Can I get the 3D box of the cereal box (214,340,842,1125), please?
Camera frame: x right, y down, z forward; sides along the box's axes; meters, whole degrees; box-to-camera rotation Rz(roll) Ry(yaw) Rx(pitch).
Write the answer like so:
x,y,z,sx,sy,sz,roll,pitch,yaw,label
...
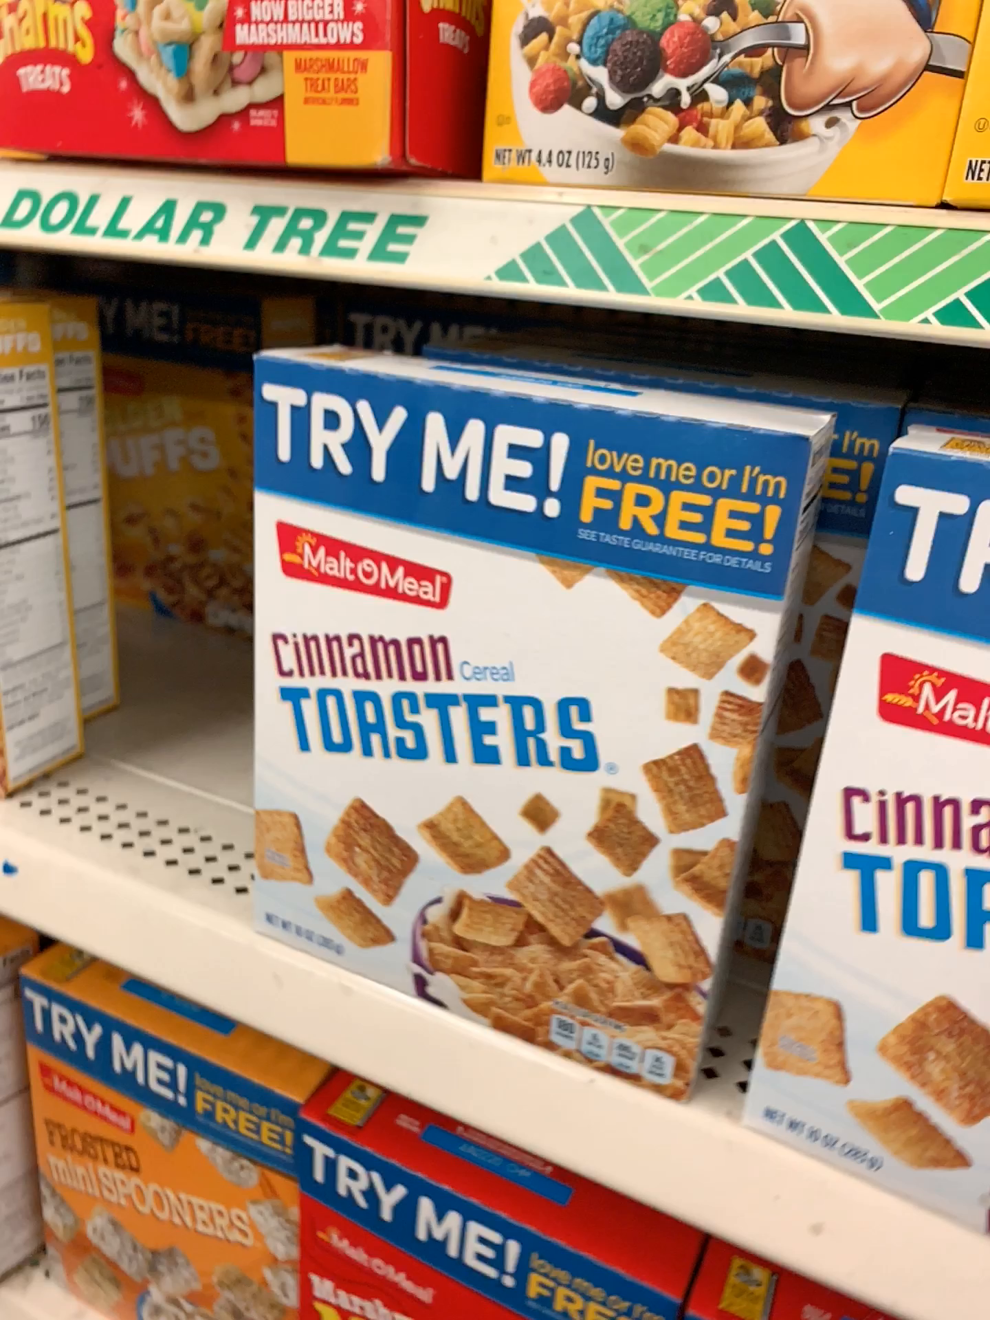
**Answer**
x,y,z,sx,sy,sz,roll,pitch,yaw,label
-0.002,0.019,0.328,0.170,0.209,0.050,14,24,21,cereal box
